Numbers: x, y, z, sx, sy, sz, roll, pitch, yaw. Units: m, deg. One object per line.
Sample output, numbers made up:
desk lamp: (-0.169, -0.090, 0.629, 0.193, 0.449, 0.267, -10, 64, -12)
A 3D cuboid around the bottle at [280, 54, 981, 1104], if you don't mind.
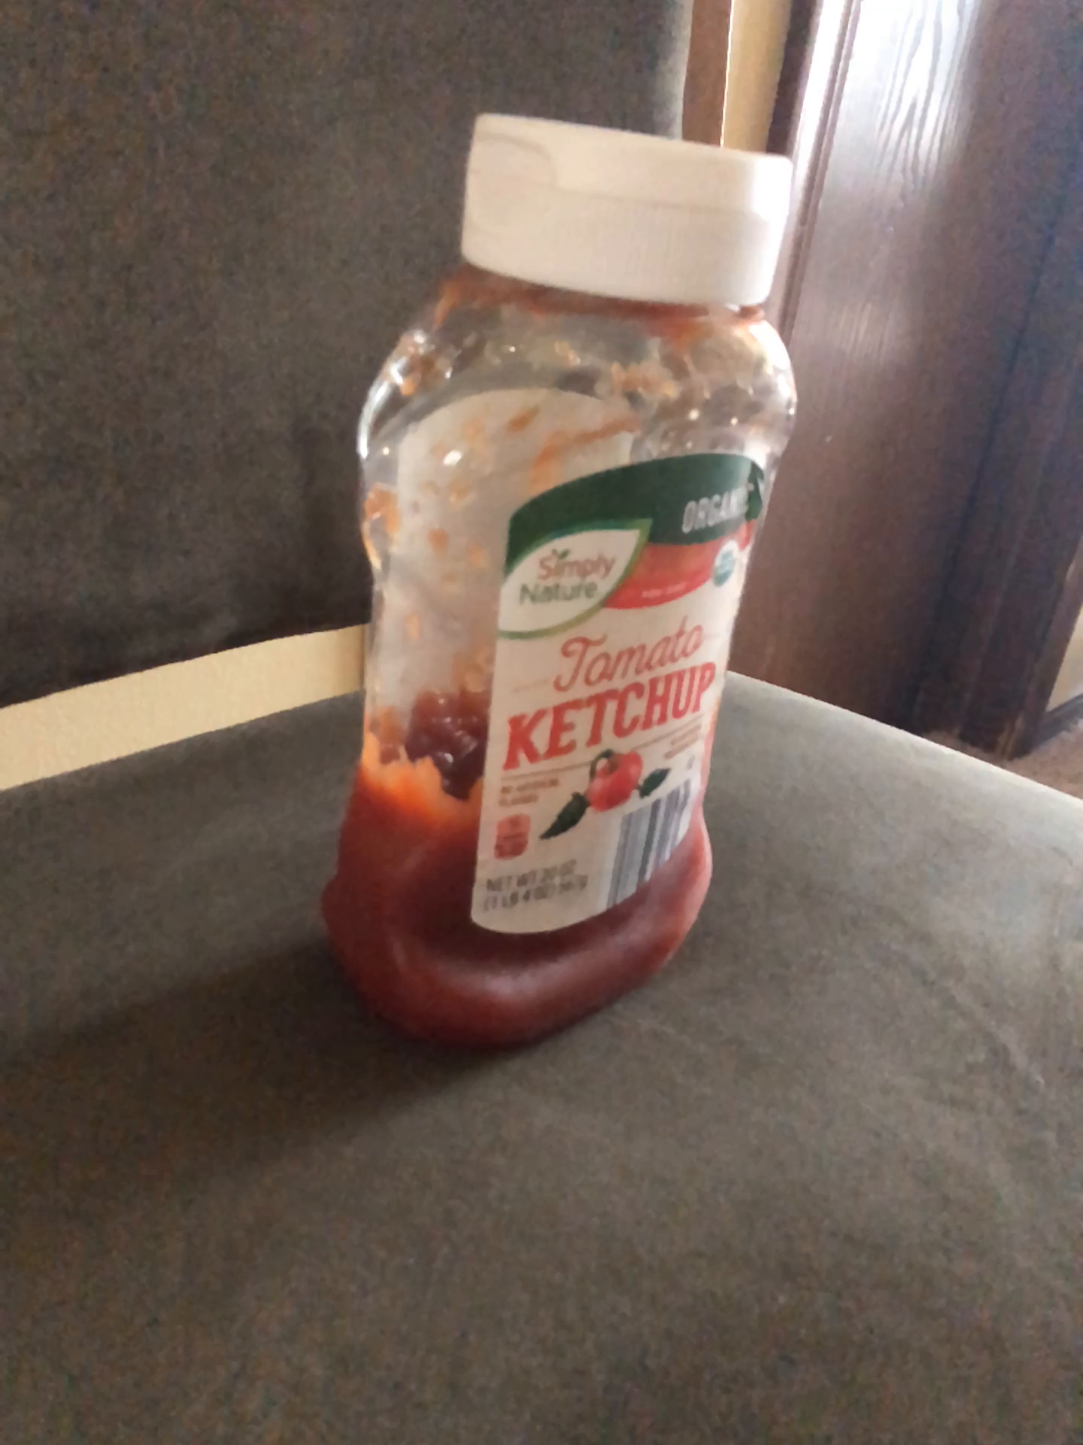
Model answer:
bottle: (0.009, -0.027, 0.234, 0.100, 0.170, 0.060, -16, 36, -37)
